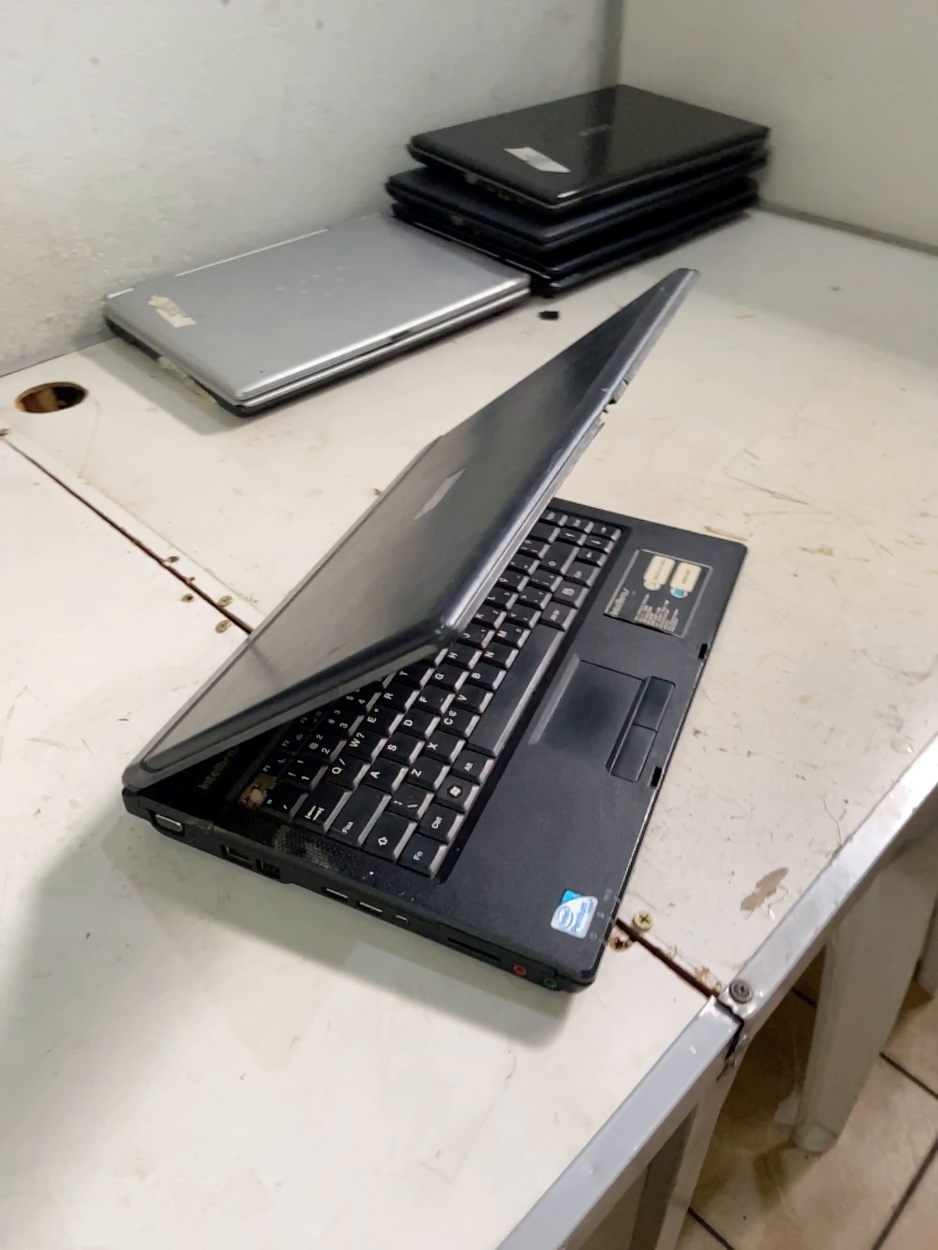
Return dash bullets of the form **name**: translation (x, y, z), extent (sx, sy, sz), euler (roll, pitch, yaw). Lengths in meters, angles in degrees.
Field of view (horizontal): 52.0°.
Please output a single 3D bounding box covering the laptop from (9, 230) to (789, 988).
- **laptop**: translation (0.000, -0.046, 0.489), extent (0.235, 0.168, 0.325), euler (16, 43, 17)
